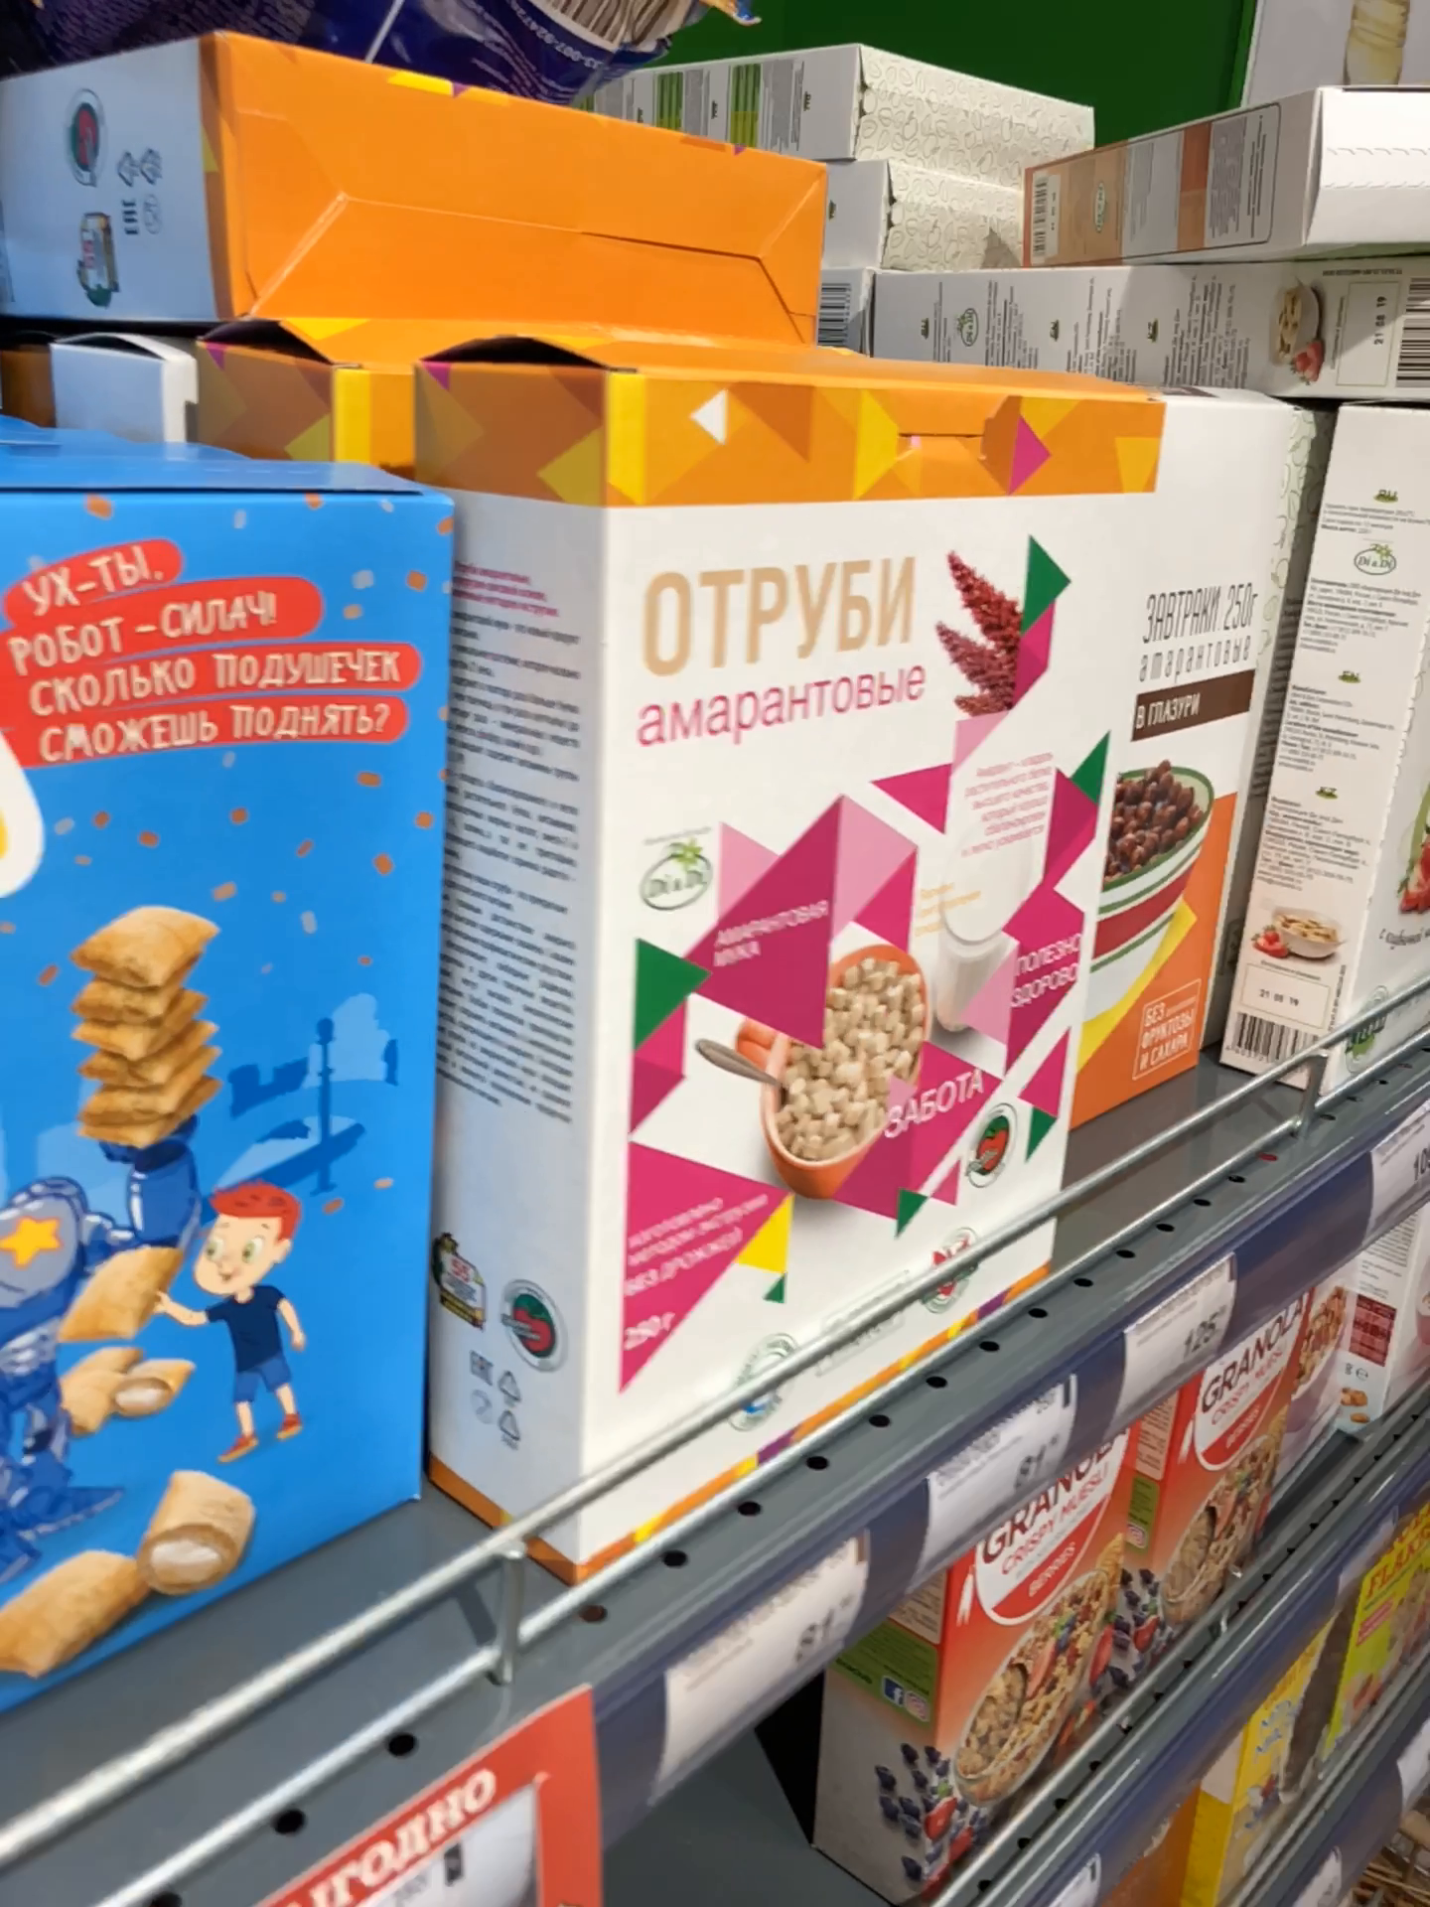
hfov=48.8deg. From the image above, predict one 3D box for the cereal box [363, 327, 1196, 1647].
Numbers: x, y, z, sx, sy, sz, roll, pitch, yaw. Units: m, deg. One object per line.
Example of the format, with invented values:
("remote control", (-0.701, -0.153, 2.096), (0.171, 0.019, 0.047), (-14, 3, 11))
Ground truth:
("cereal box", (0.020, -0.005, 0.379), (0.060, 0.259, 0.201), (20, 26, 40))
